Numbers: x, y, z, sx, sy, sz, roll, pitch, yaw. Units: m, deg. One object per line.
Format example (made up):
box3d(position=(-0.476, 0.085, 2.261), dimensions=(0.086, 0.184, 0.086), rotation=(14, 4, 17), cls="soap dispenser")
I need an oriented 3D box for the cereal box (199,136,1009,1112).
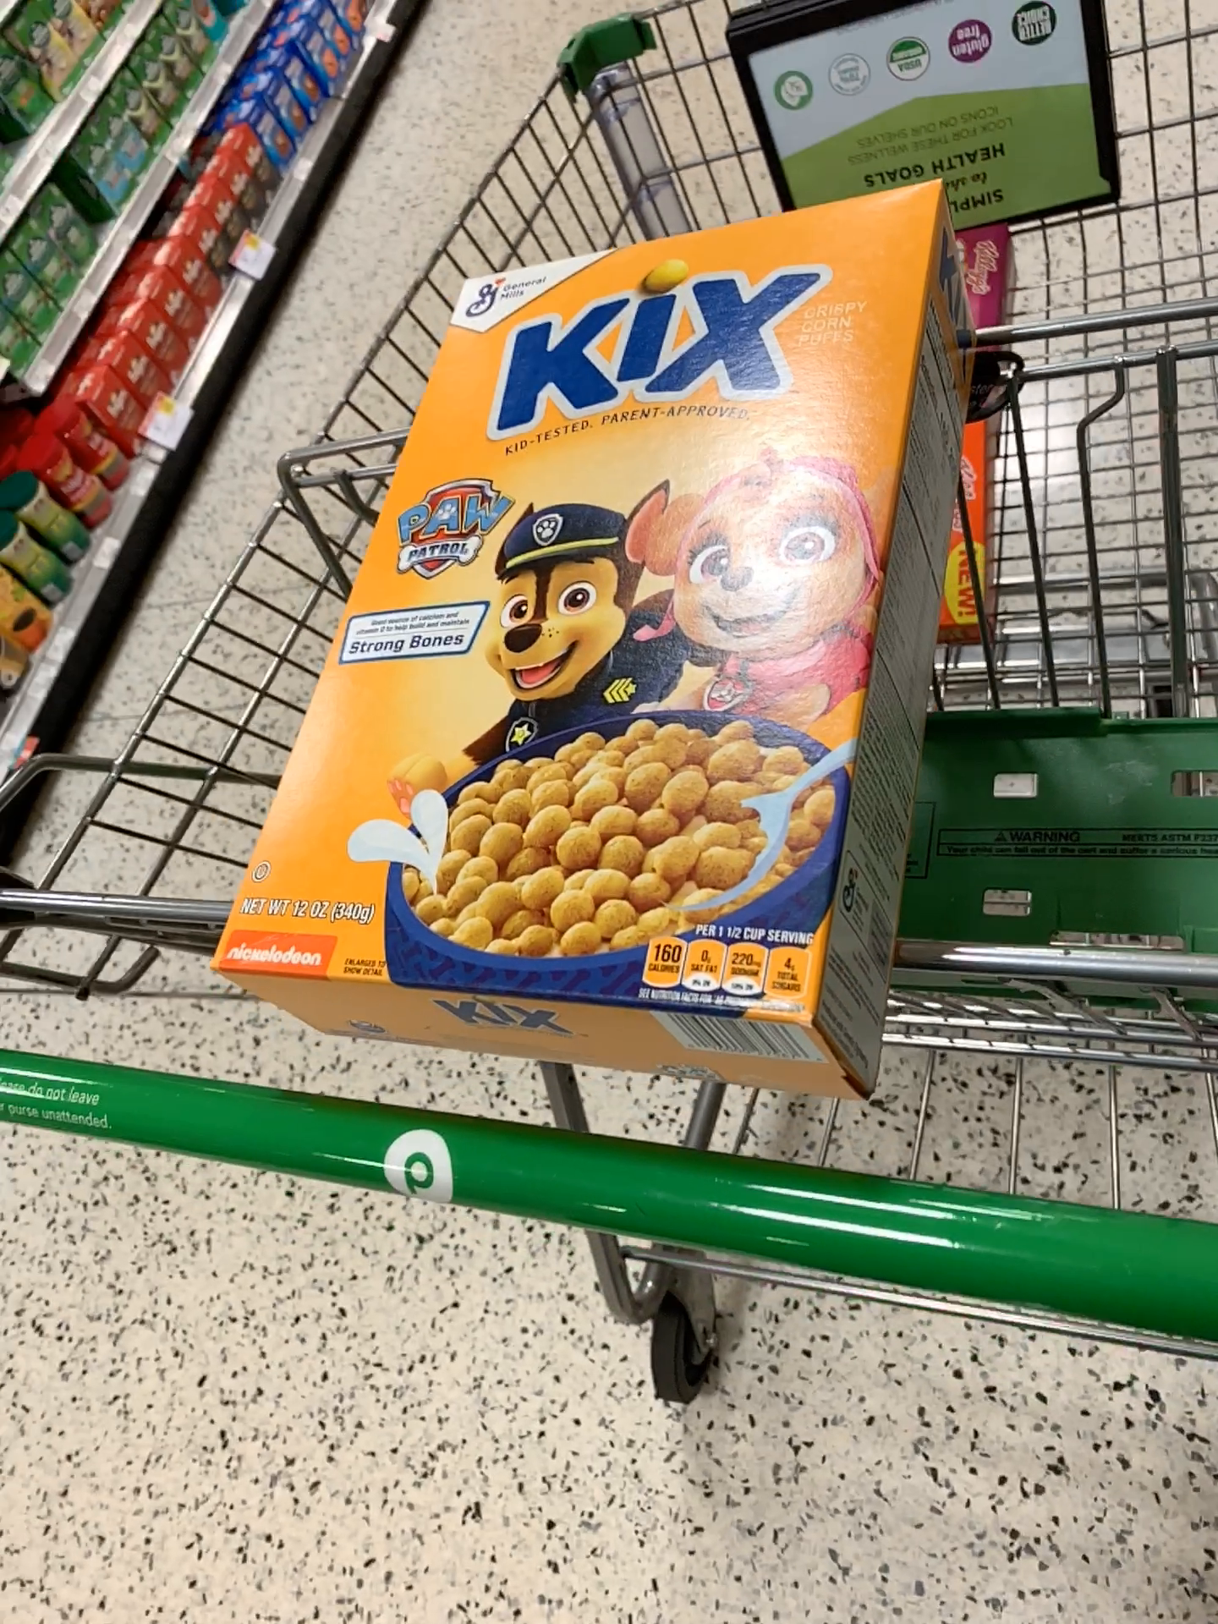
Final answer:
box3d(position=(0.014, -0.075, 0.447), dimensions=(0.210, 0.079, 0.322), rotation=(1, 62, 27), cls="cereal box")
